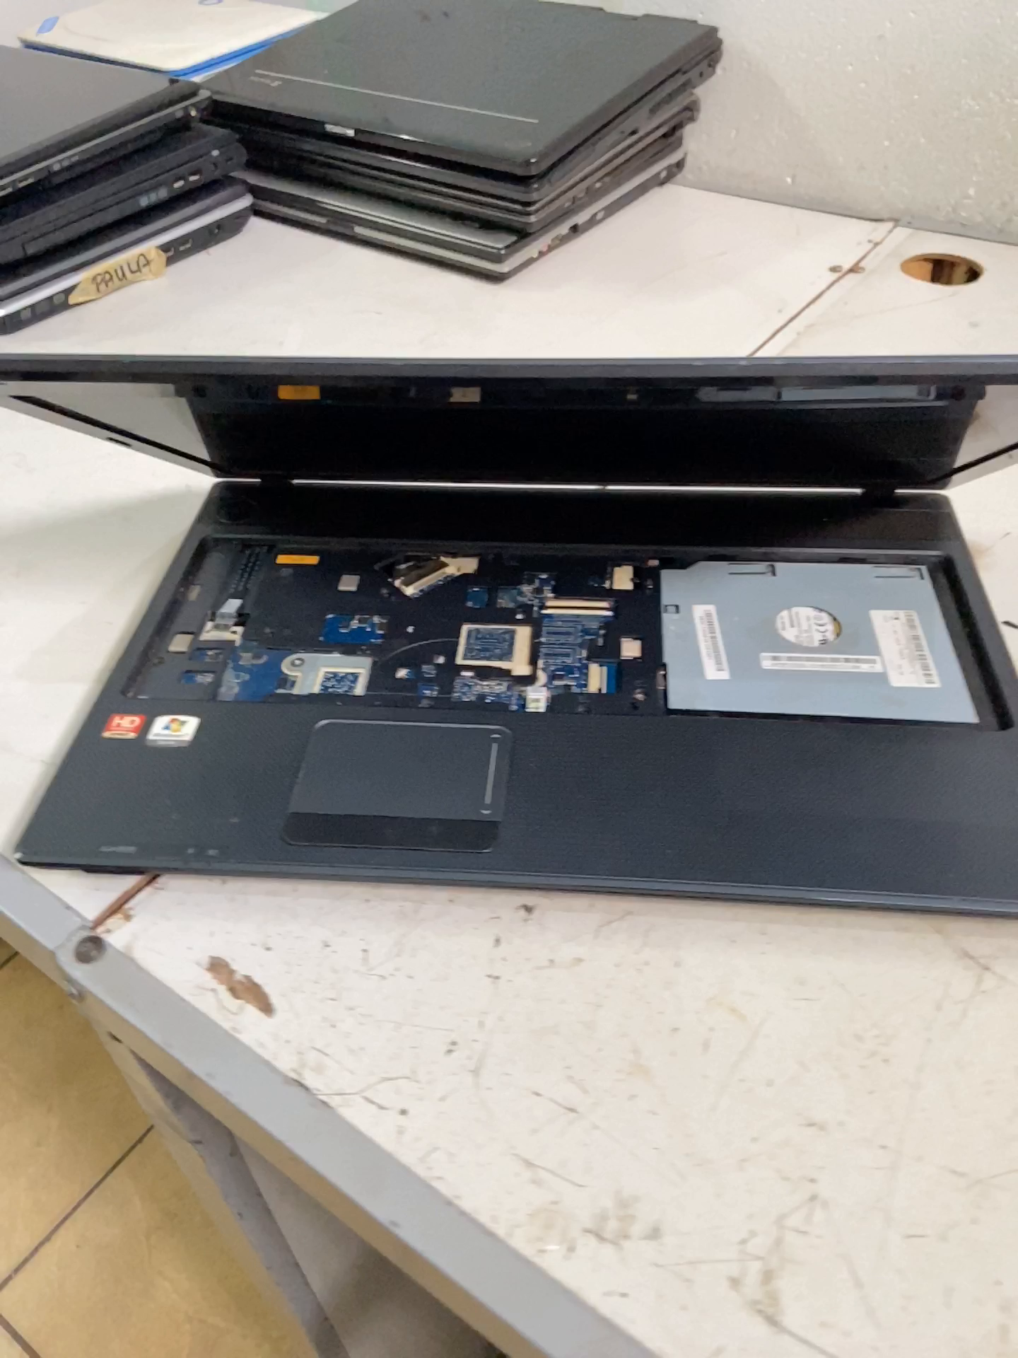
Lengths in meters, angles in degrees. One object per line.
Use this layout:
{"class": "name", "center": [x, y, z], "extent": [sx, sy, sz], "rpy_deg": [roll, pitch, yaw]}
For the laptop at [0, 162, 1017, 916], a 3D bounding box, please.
{"class": "laptop", "center": [0.015, -0.069, 0.392], "extent": [0.370, 0.156, 0.240], "rpy_deg": [2, 43, 6]}
